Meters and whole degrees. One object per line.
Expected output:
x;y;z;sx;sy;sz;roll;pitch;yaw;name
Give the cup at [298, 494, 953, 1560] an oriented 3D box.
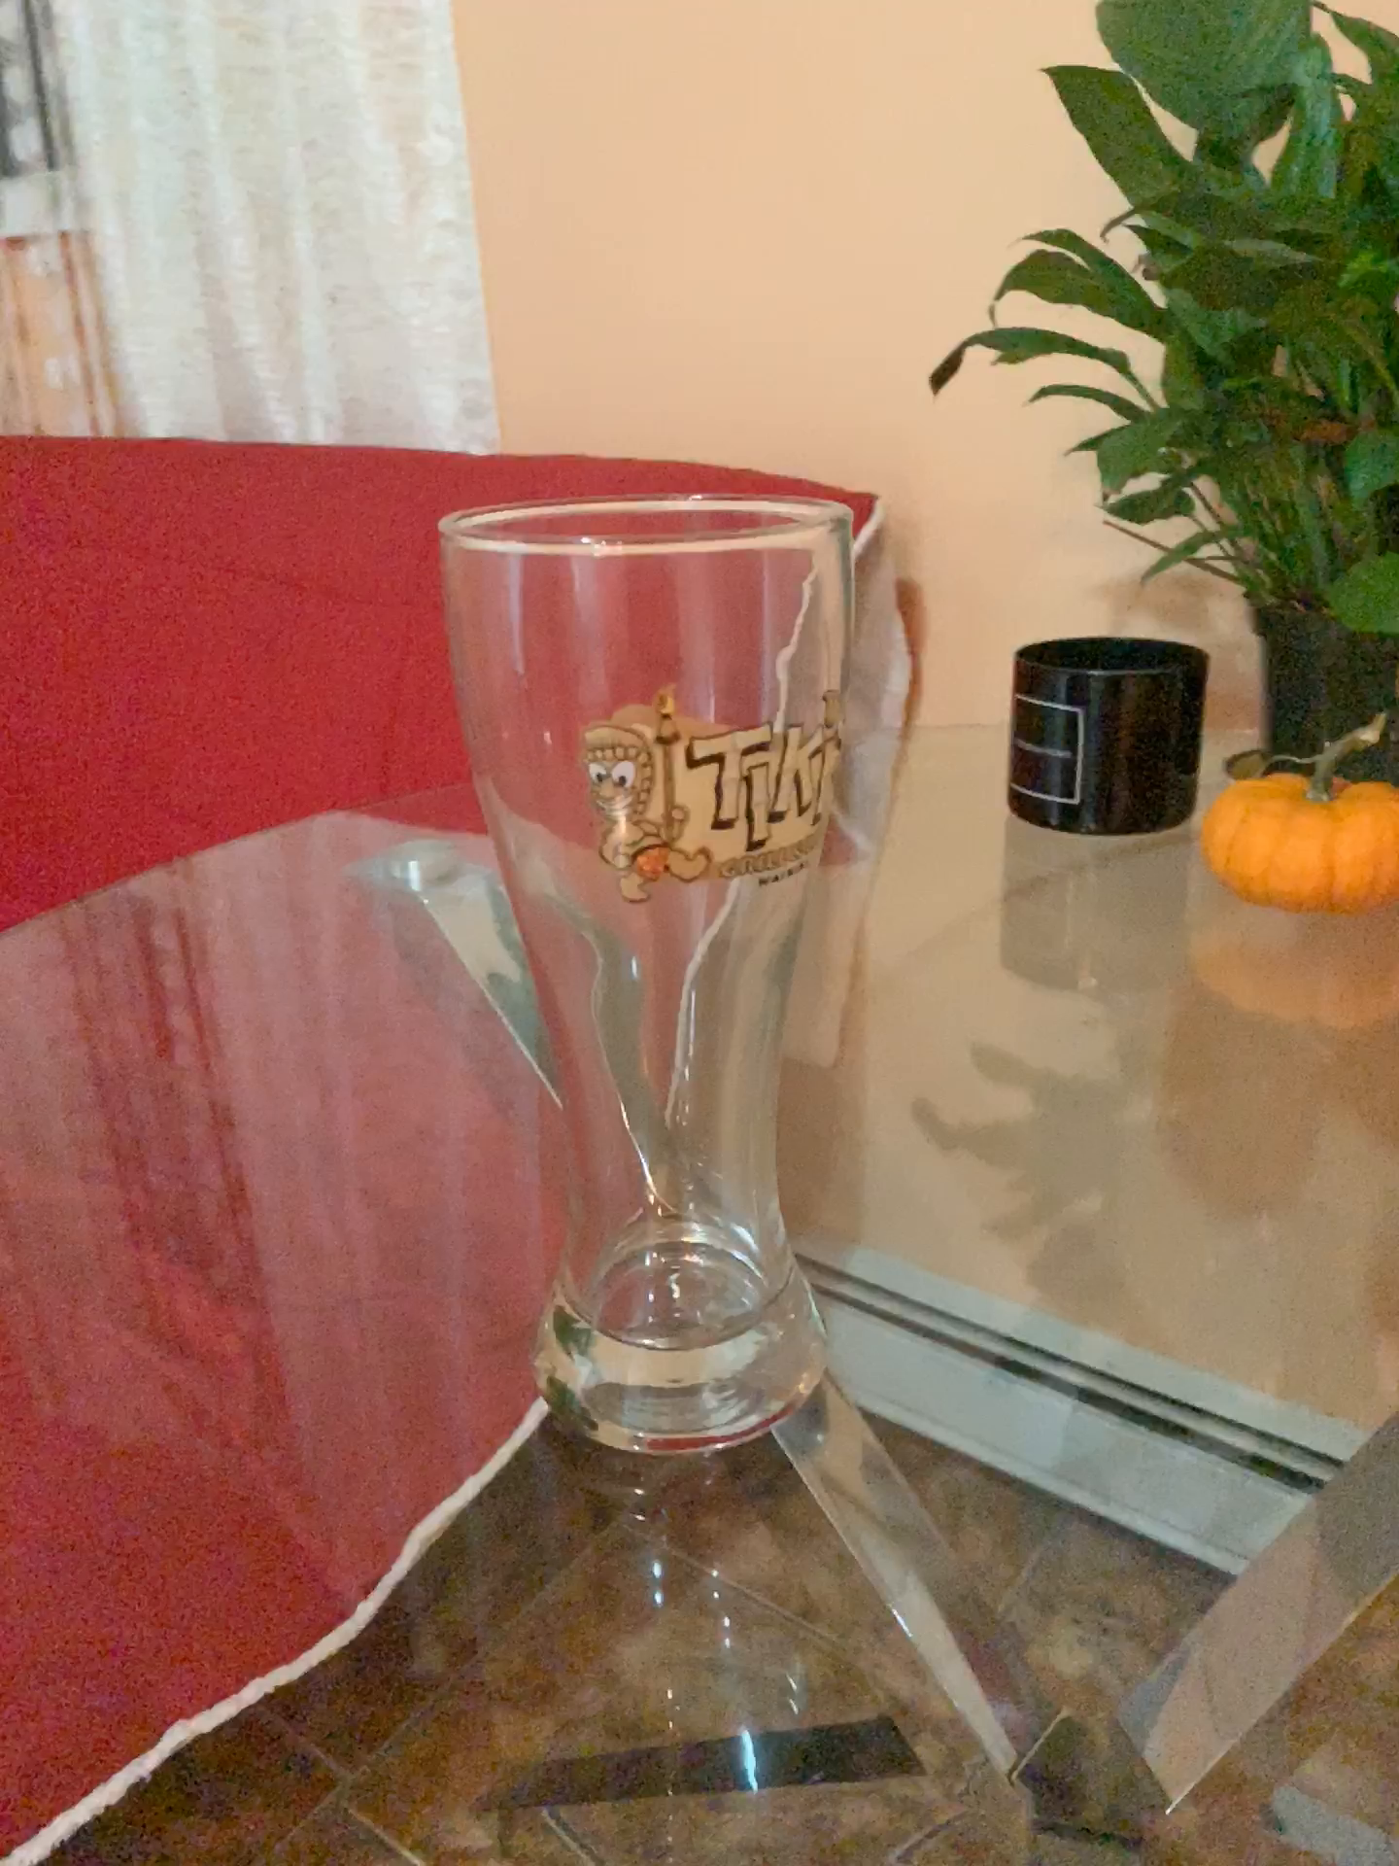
-0.013;0.012;0.335;0.100;0.211;0.093;-1;21;0;cup
